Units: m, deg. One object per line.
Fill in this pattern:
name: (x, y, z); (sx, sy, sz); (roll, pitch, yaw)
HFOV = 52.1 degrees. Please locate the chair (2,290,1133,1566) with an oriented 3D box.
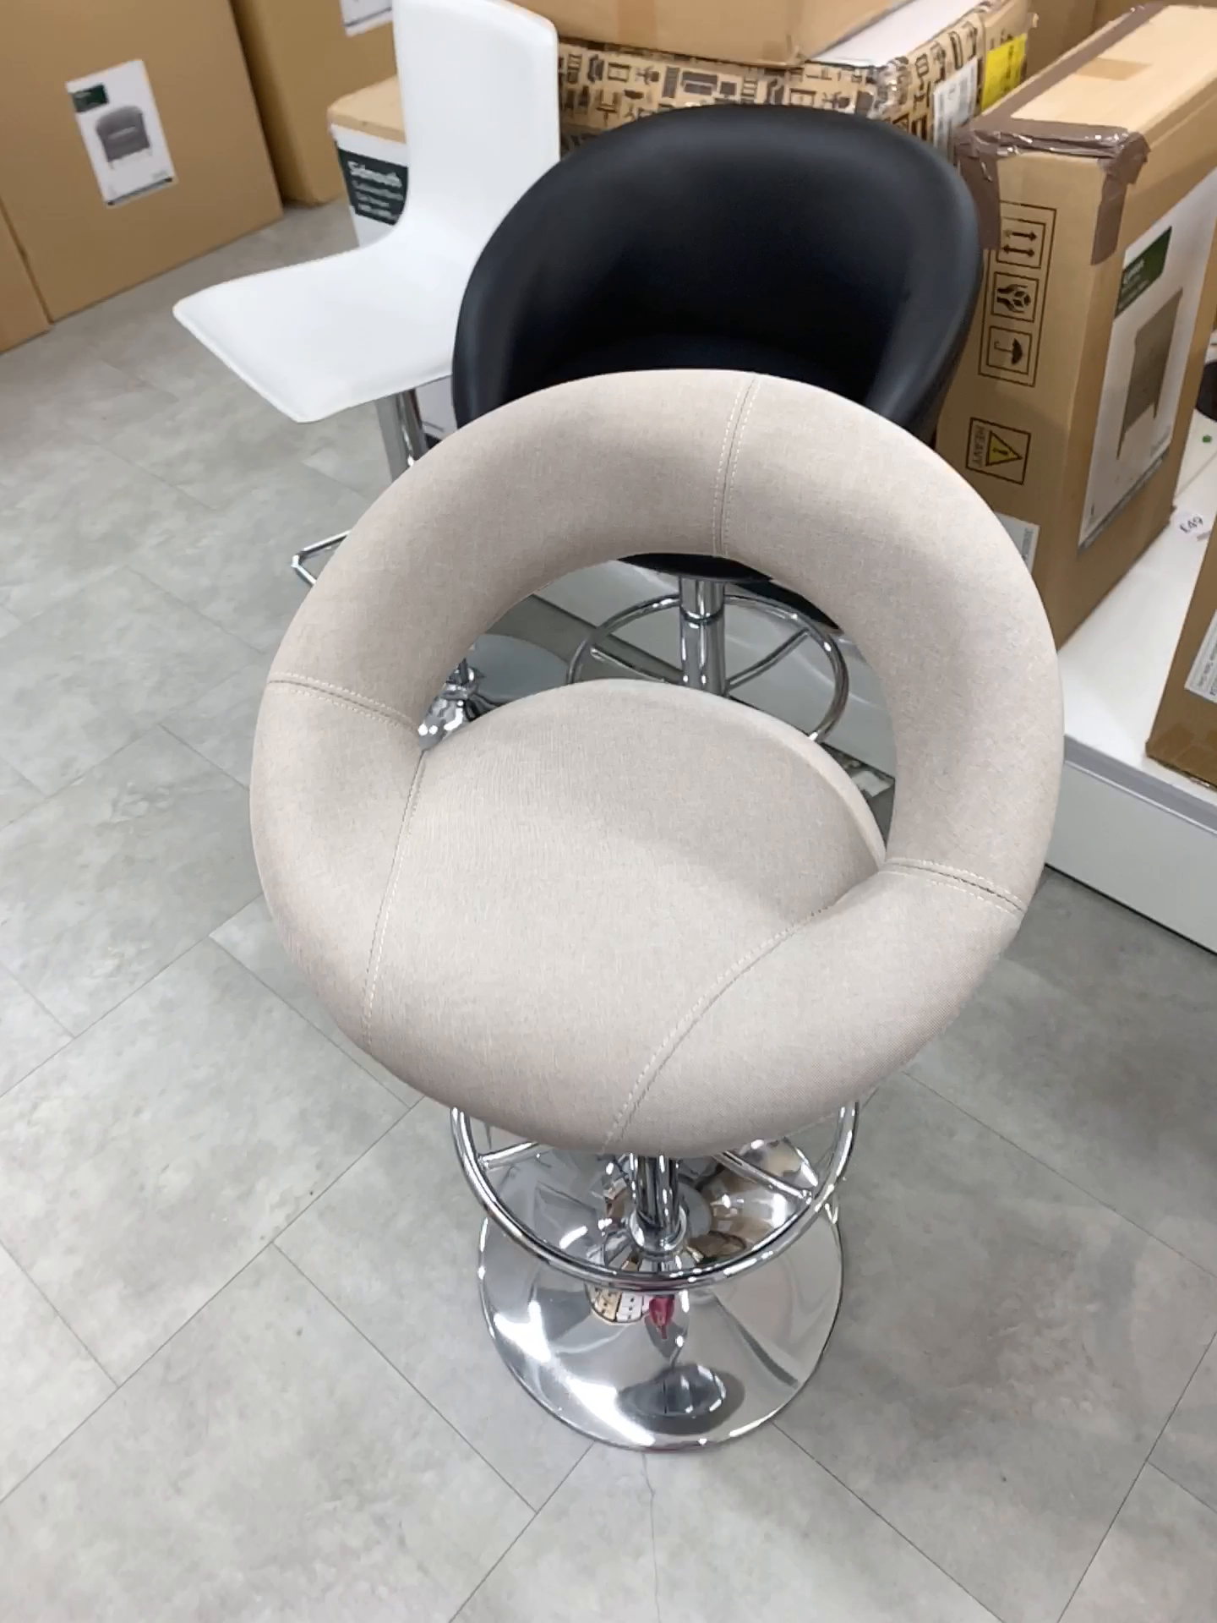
chair: (0.021, 0.170, 1.087); (0.485, 0.979, 0.466); (24, 54, 25)

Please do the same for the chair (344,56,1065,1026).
chair: (0.131, -0.285, 1.511); (0.495, 0.939, 0.486); (24, 54, 25)

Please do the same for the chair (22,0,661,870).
chair: (-0.298, -0.518, 1.734); (0.485, 1.008, 0.537); (-28, 51, -19)
